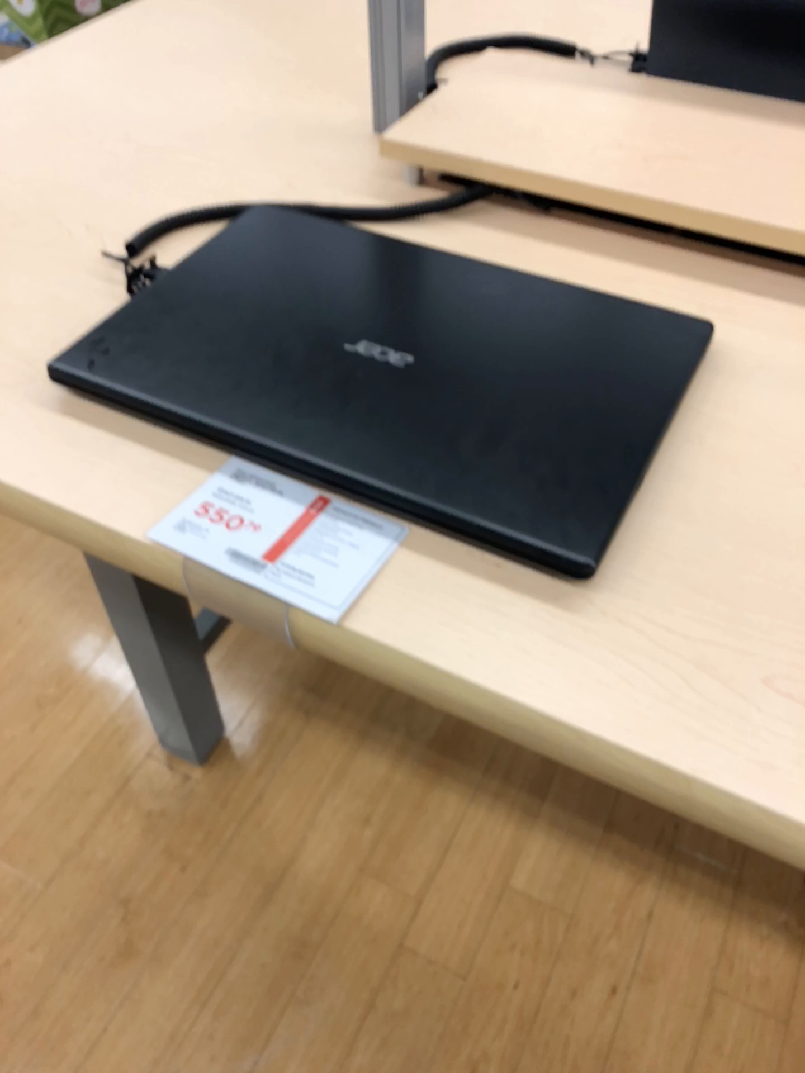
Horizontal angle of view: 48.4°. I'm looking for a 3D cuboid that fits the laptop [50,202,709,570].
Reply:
[{"bbox_3d":[-0.013,-0.142,0.662,0.417,0.001,0.268,21,51,19],"label":"laptop"}]
